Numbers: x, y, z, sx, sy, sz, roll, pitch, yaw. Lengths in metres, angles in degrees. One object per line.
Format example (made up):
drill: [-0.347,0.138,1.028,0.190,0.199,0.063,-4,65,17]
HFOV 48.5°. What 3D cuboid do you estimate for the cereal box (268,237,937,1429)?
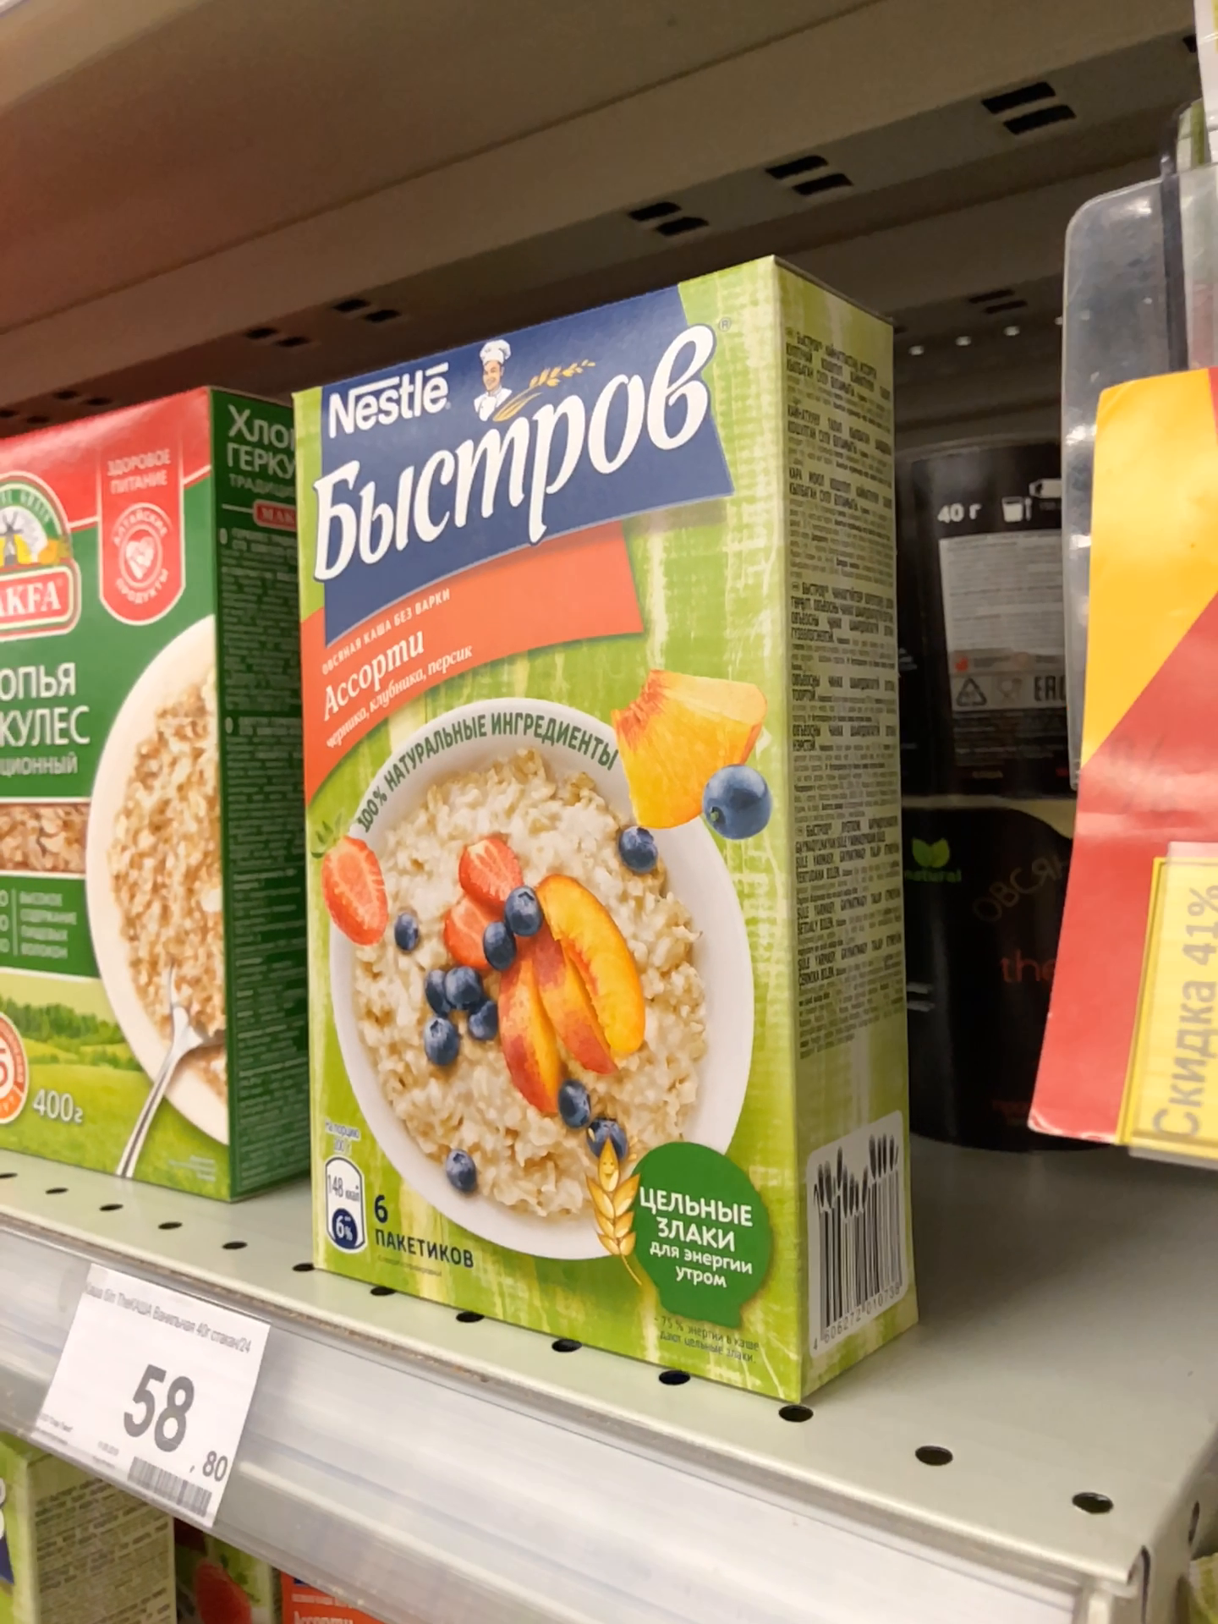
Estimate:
cereal box: [-0.006,0.004,0.286,0.130,0.200,0.050,-1,1,37]
